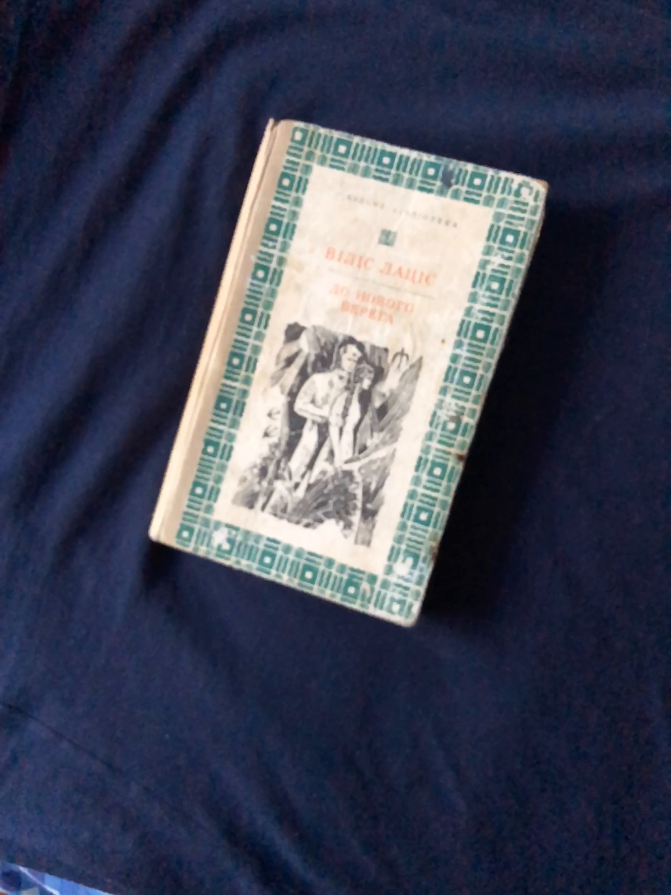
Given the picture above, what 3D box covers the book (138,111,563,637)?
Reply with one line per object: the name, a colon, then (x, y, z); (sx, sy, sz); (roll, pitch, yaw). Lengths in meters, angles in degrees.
book: (0.006, -0.035, 0.346); (0.134, 0.040, 0.201); (17, 90, 10)
